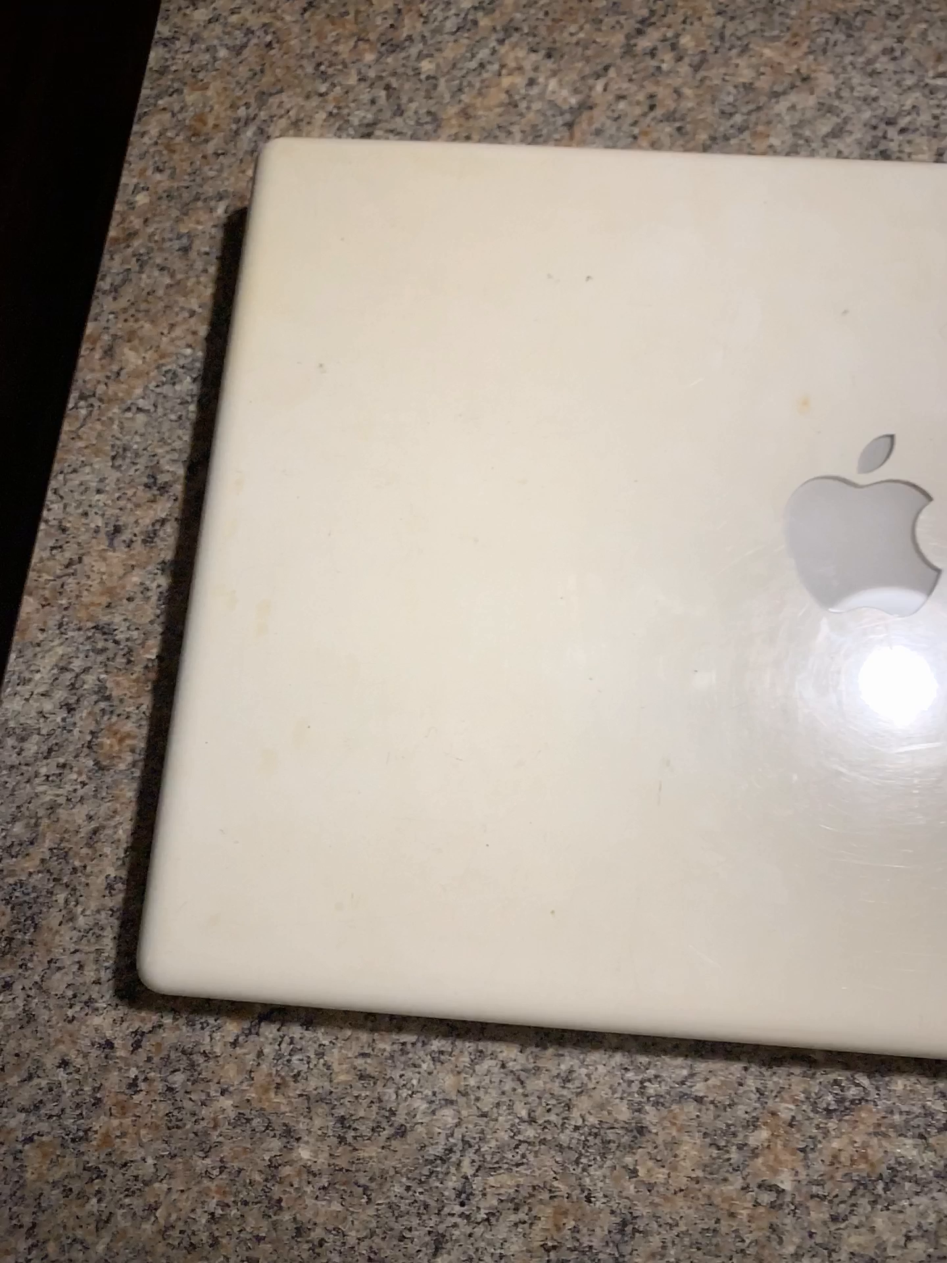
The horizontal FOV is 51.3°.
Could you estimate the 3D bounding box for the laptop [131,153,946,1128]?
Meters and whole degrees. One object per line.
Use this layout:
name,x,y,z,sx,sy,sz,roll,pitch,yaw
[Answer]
laptop,0.087,-0.020,0.219,0.305,0.002,0.205,3,75,6
